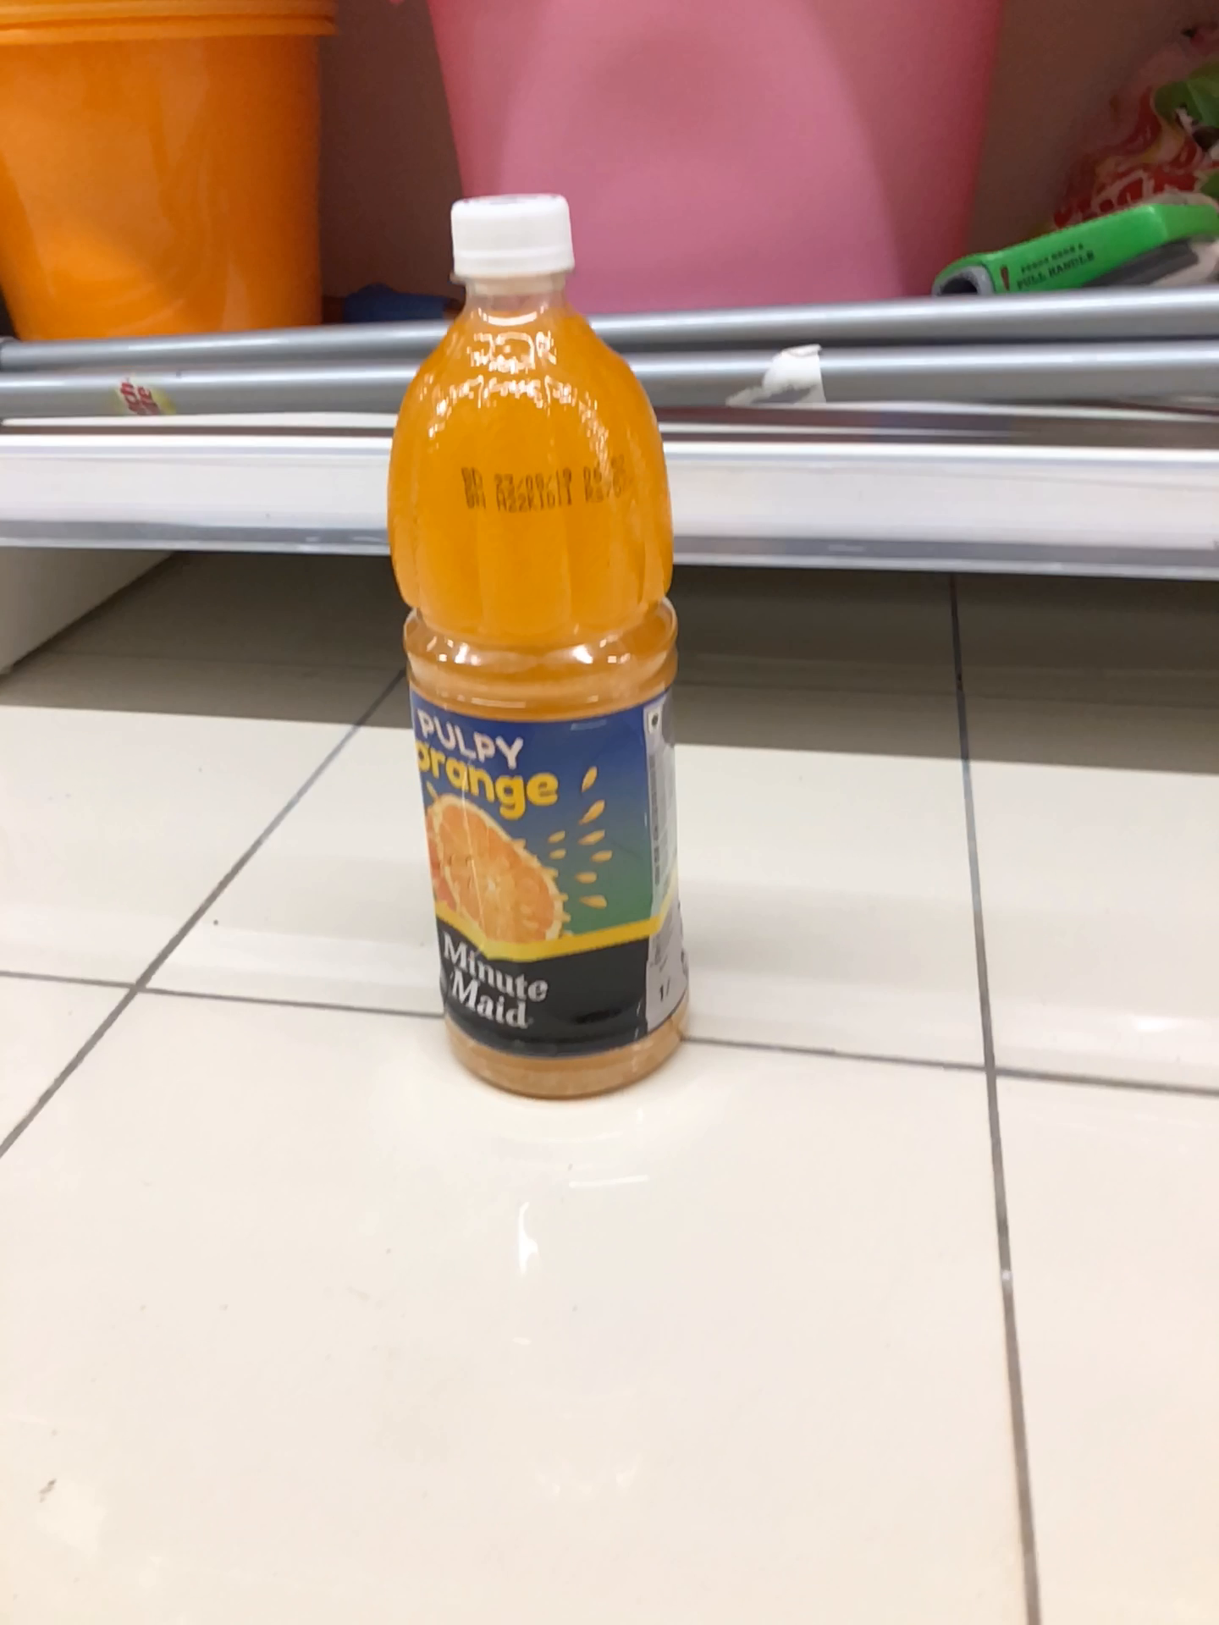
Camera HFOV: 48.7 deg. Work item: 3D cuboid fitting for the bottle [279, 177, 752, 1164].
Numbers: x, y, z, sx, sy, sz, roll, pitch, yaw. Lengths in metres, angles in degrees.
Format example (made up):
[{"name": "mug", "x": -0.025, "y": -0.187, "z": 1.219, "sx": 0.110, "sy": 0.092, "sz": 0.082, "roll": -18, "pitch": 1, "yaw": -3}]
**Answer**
[{"name": "bottle", "x": -0.019, "y": -0.039, "z": 0.404, "sx": 0.090, "sy": 0.268, "sz": 0.080, "roll": 22, "pitch": 37, "yaw": 38}]
